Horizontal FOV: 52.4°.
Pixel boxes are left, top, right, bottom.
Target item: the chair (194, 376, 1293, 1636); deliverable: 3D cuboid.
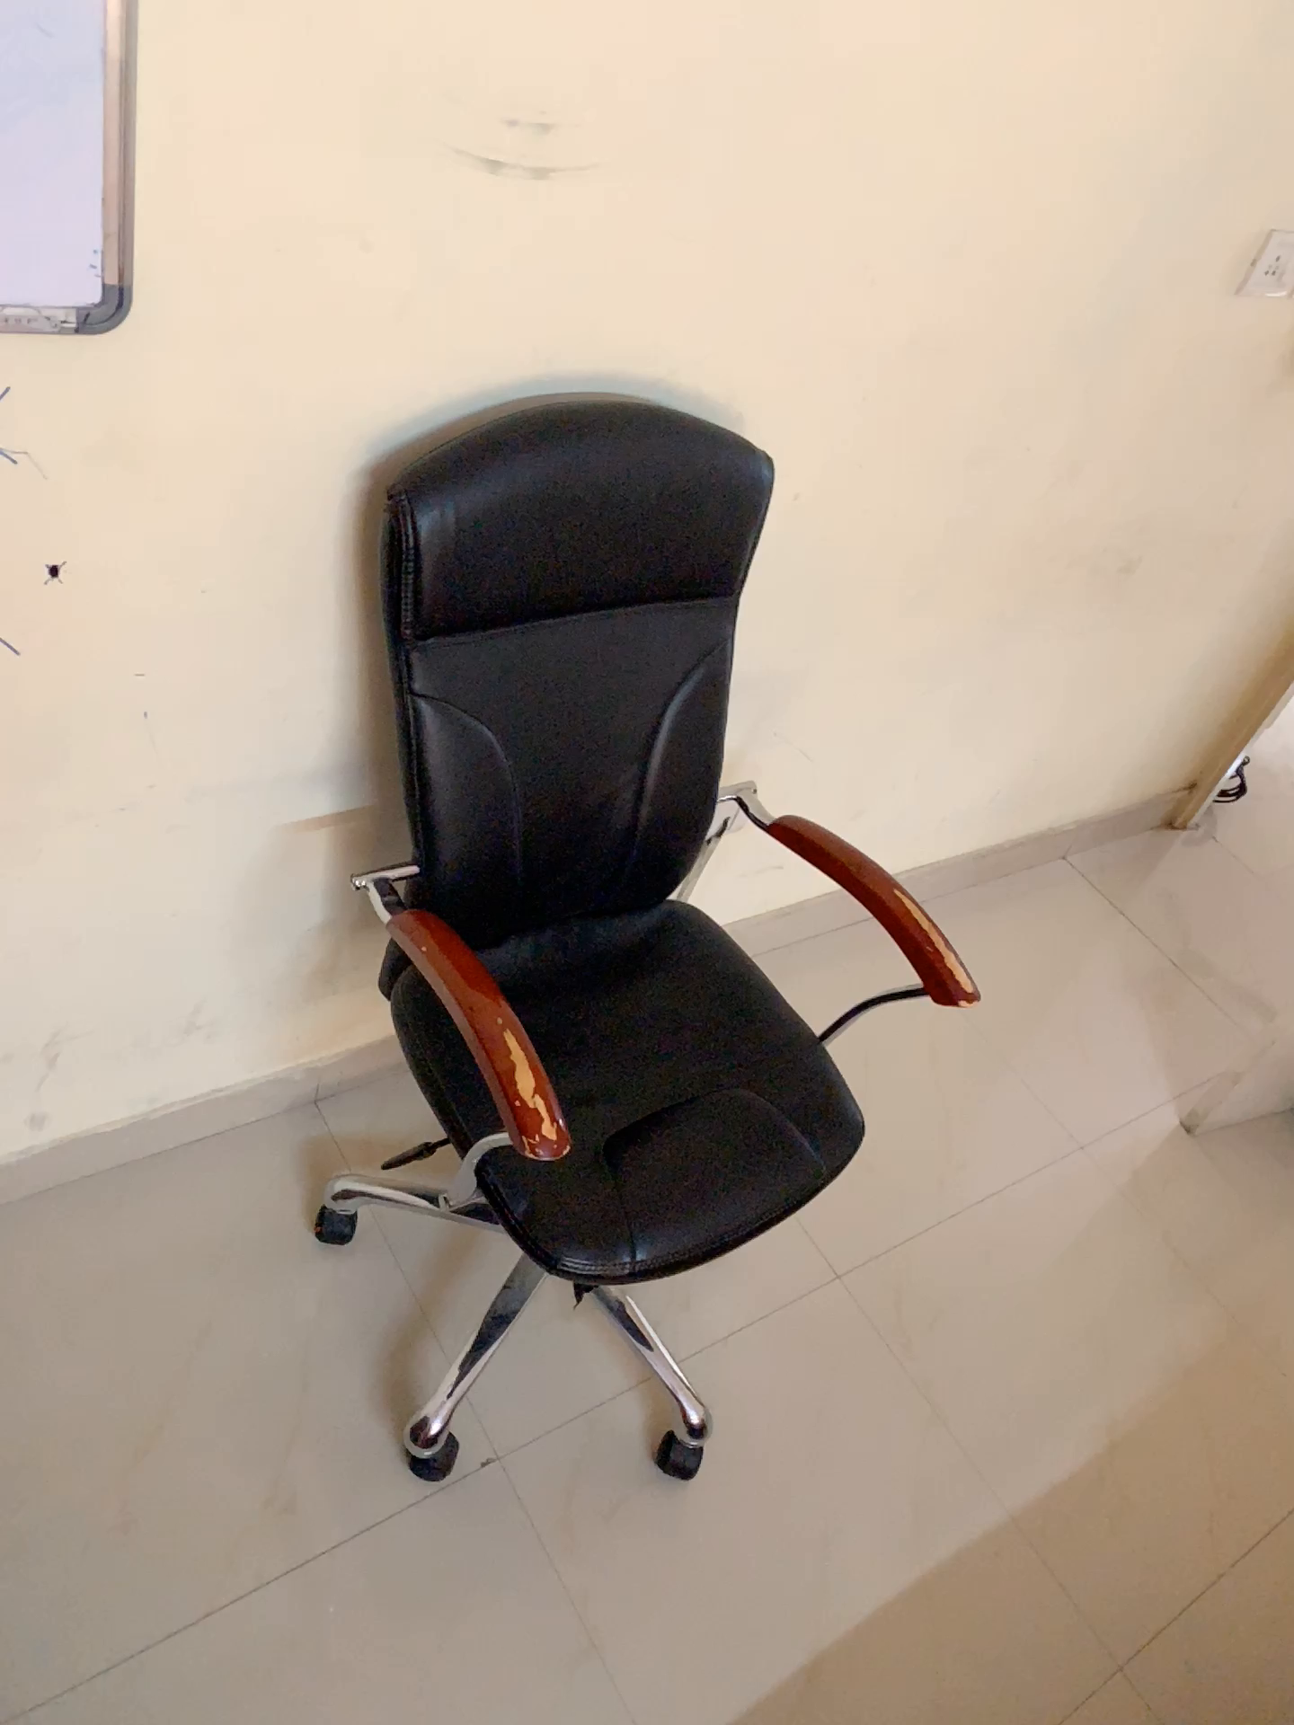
[{"bbox_3d":[-0.013,0.142,1.496,0.703,1.081,0.753,-14,51,-34],"label":"chair"}]
